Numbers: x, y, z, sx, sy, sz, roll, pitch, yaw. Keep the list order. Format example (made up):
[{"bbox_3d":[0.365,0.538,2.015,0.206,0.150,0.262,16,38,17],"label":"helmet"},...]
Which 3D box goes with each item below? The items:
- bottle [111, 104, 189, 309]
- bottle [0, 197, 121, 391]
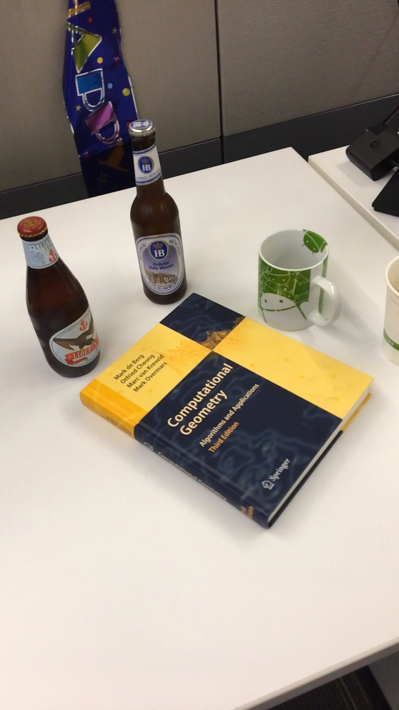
[{"bbox_3d":[-0.054,-0.162,0.680,0.060,0.220,0.070,-7,47,-2],"label":"bottle"},{"bbox_3d":[-0.144,-0.058,0.609,0.070,0.180,0.070,-2,47,2],"label":"bottle"}]
